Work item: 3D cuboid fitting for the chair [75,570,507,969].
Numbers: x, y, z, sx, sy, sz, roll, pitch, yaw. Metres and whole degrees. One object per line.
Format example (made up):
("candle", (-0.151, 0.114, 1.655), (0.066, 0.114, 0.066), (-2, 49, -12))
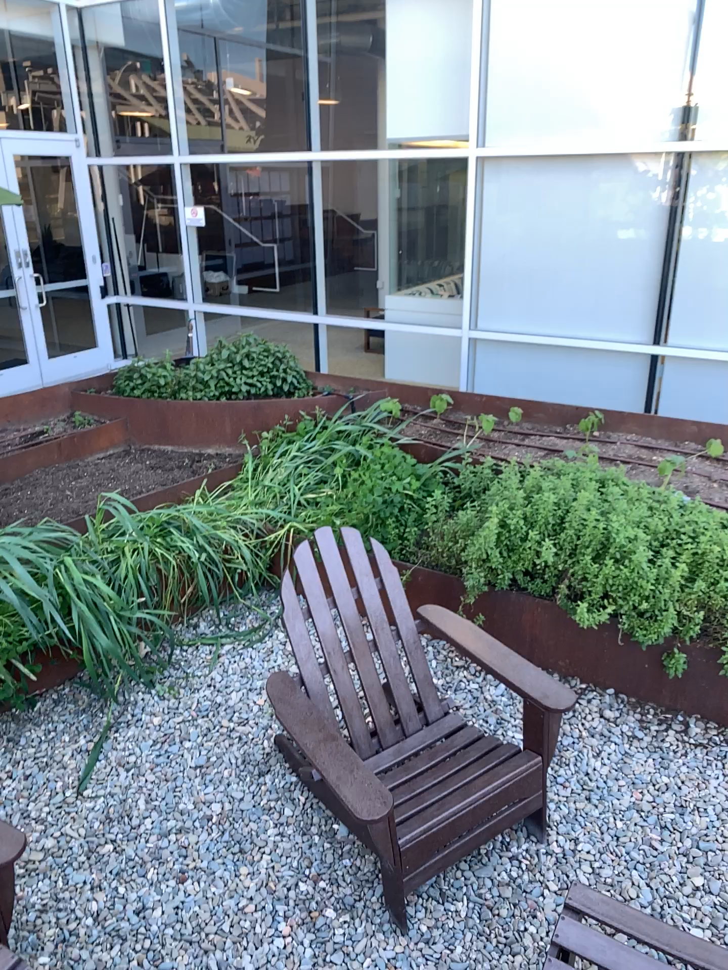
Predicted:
("chair", (-0.282, 1.026, 2.331), (1.000, 0.996, 1.004), (-9, 23, -19))
